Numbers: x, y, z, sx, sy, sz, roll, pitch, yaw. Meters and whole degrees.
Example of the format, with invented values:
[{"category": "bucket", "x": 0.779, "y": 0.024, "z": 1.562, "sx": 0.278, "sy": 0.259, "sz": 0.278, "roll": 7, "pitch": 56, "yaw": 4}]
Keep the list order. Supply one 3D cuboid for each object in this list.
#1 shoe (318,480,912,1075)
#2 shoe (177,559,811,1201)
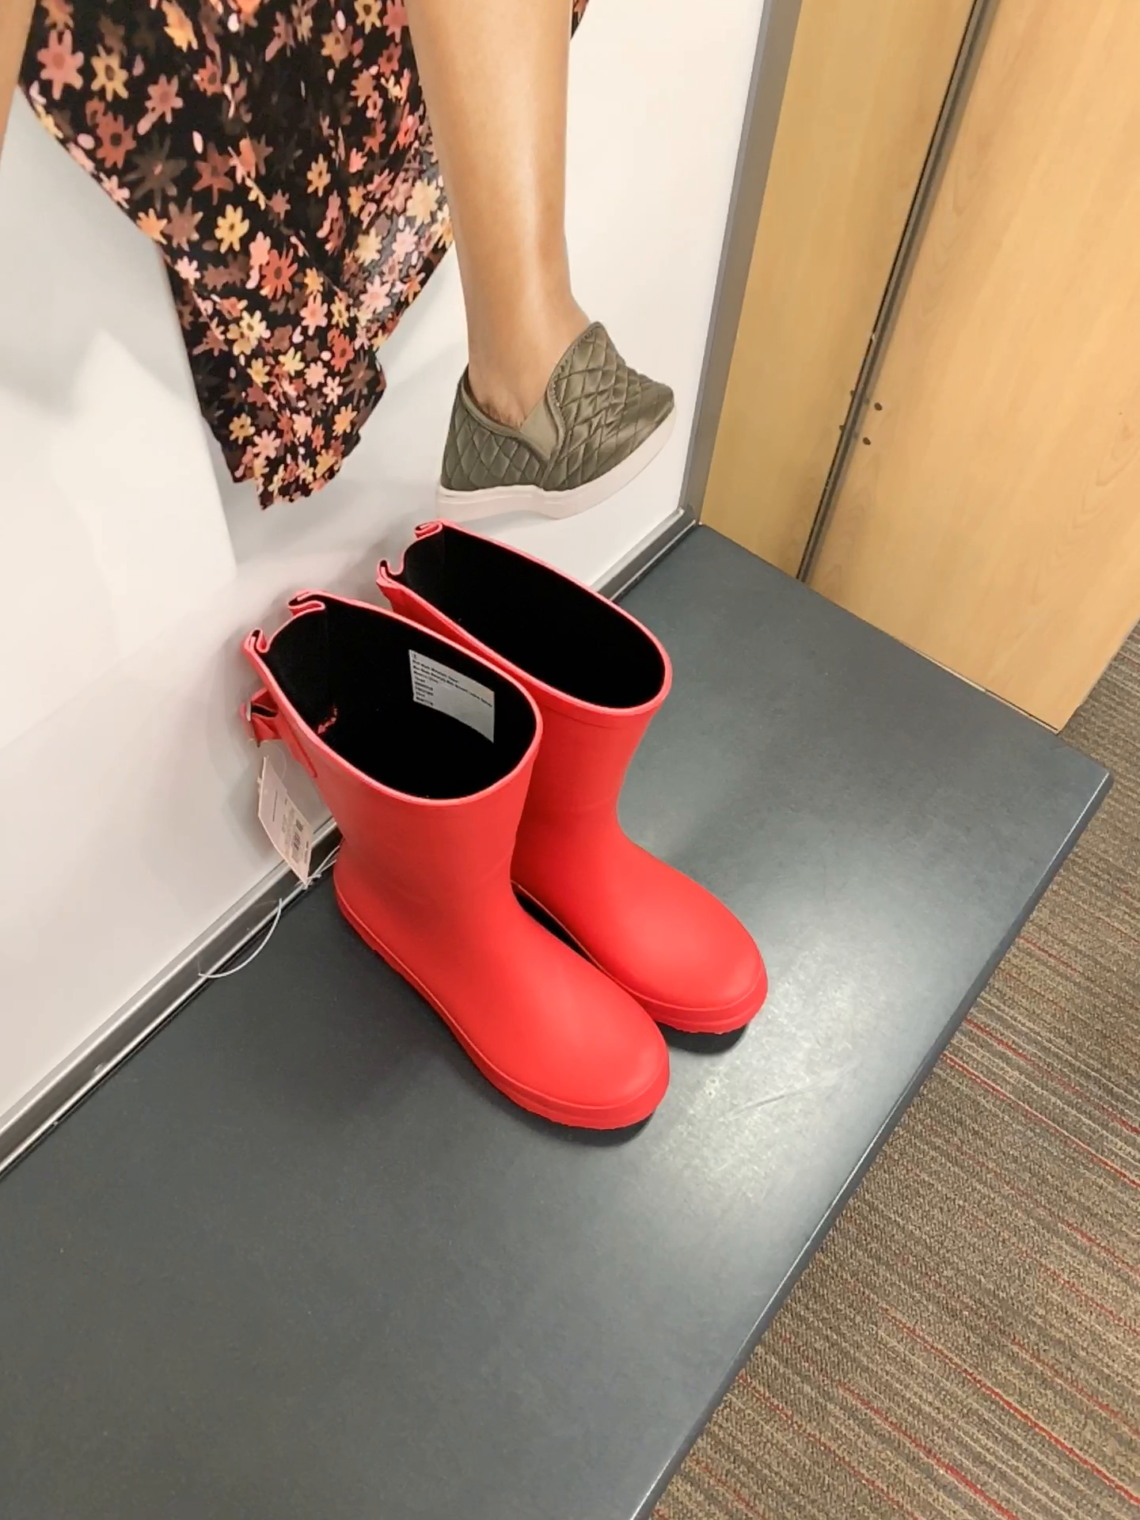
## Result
[{"category": "shoe", "x": 0.012, "y": 0.021, "z": 0.660, "sx": 0.270, "sy": 0.249, "sz": 0.106, "roll": 30, "pitch": 60, "yaw": 15}, {"category": "shoe", "x": -0.044, "y": 0.074, "z": 0.614, "sx": 0.270, "sy": 0.249, "sz": 0.106, "roll": 33, "pitch": 60, "yaw": 17}]
